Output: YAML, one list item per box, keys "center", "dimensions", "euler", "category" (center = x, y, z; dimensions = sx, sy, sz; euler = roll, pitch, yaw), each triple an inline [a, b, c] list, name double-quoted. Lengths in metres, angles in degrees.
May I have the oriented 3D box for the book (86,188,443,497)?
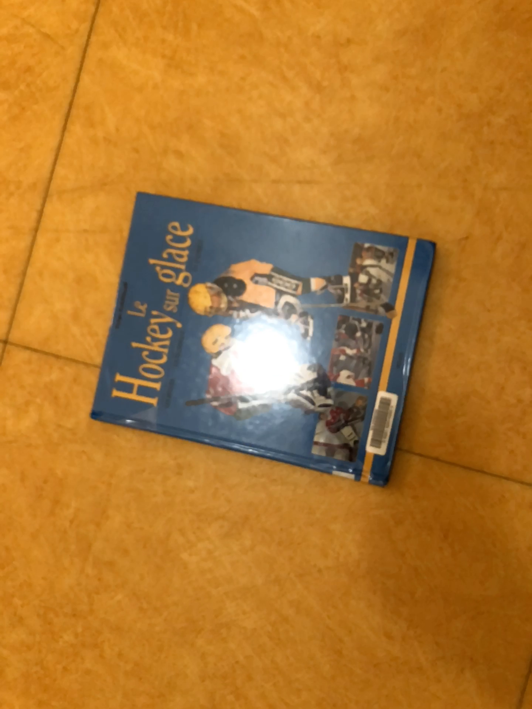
- center: [-0.004, -0.015, 0.497]
  dimensions: [0.260, 0.020, 0.210]
  euler: [11, 88, 8]
  category: "book"
